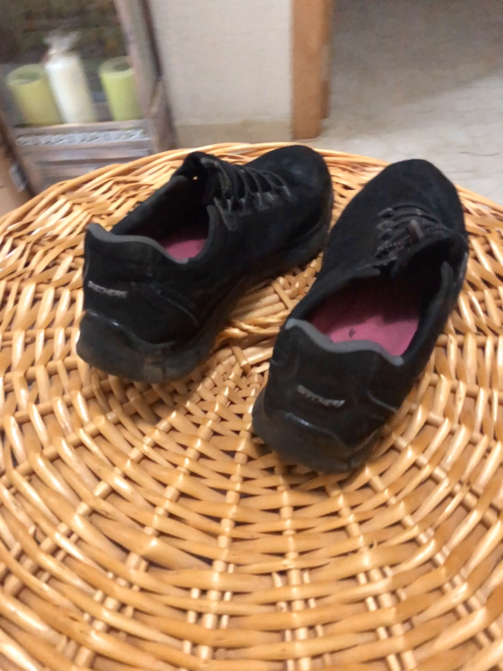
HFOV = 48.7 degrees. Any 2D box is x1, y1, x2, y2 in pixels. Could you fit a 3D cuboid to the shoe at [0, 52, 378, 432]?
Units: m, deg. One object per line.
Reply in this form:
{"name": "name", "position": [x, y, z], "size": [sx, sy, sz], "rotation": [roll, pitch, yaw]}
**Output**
{"name": "shoe", "position": [-0.027, -0.083, 0.372], "size": [0.118, 0.079, 0.265], "rotation": [23, 56, 22]}

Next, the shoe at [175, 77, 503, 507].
{"name": "shoe", "position": [0.074, -0.050, 0.342], "size": [0.118, 0.079, 0.265], "rotation": [16, 54, 17]}
